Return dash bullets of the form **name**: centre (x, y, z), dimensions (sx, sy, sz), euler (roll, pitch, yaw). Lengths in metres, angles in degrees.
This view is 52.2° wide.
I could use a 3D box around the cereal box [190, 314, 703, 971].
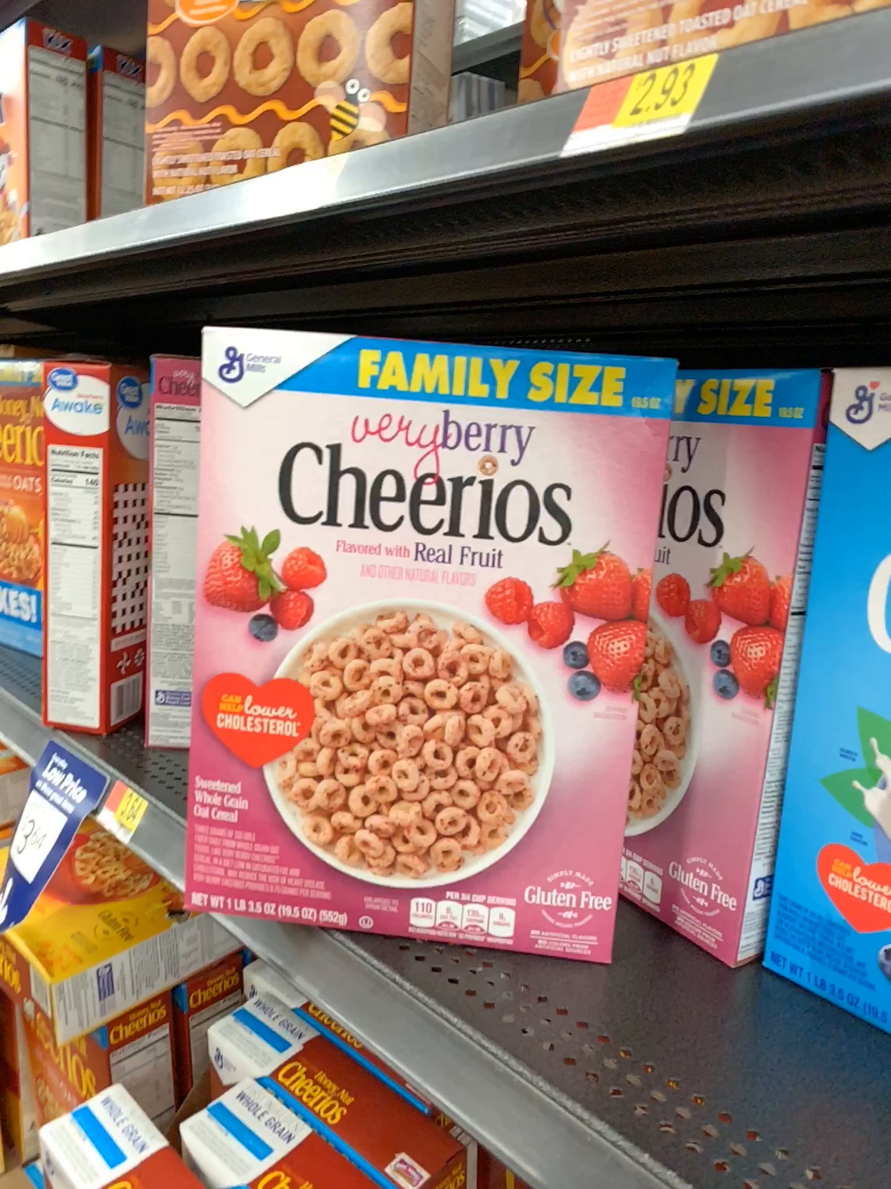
- **cereal box**: centre (-0.006, 0.024, 0.495), dimensions (0.240, 0.319, 0.060), euler (5, 8, 5)
